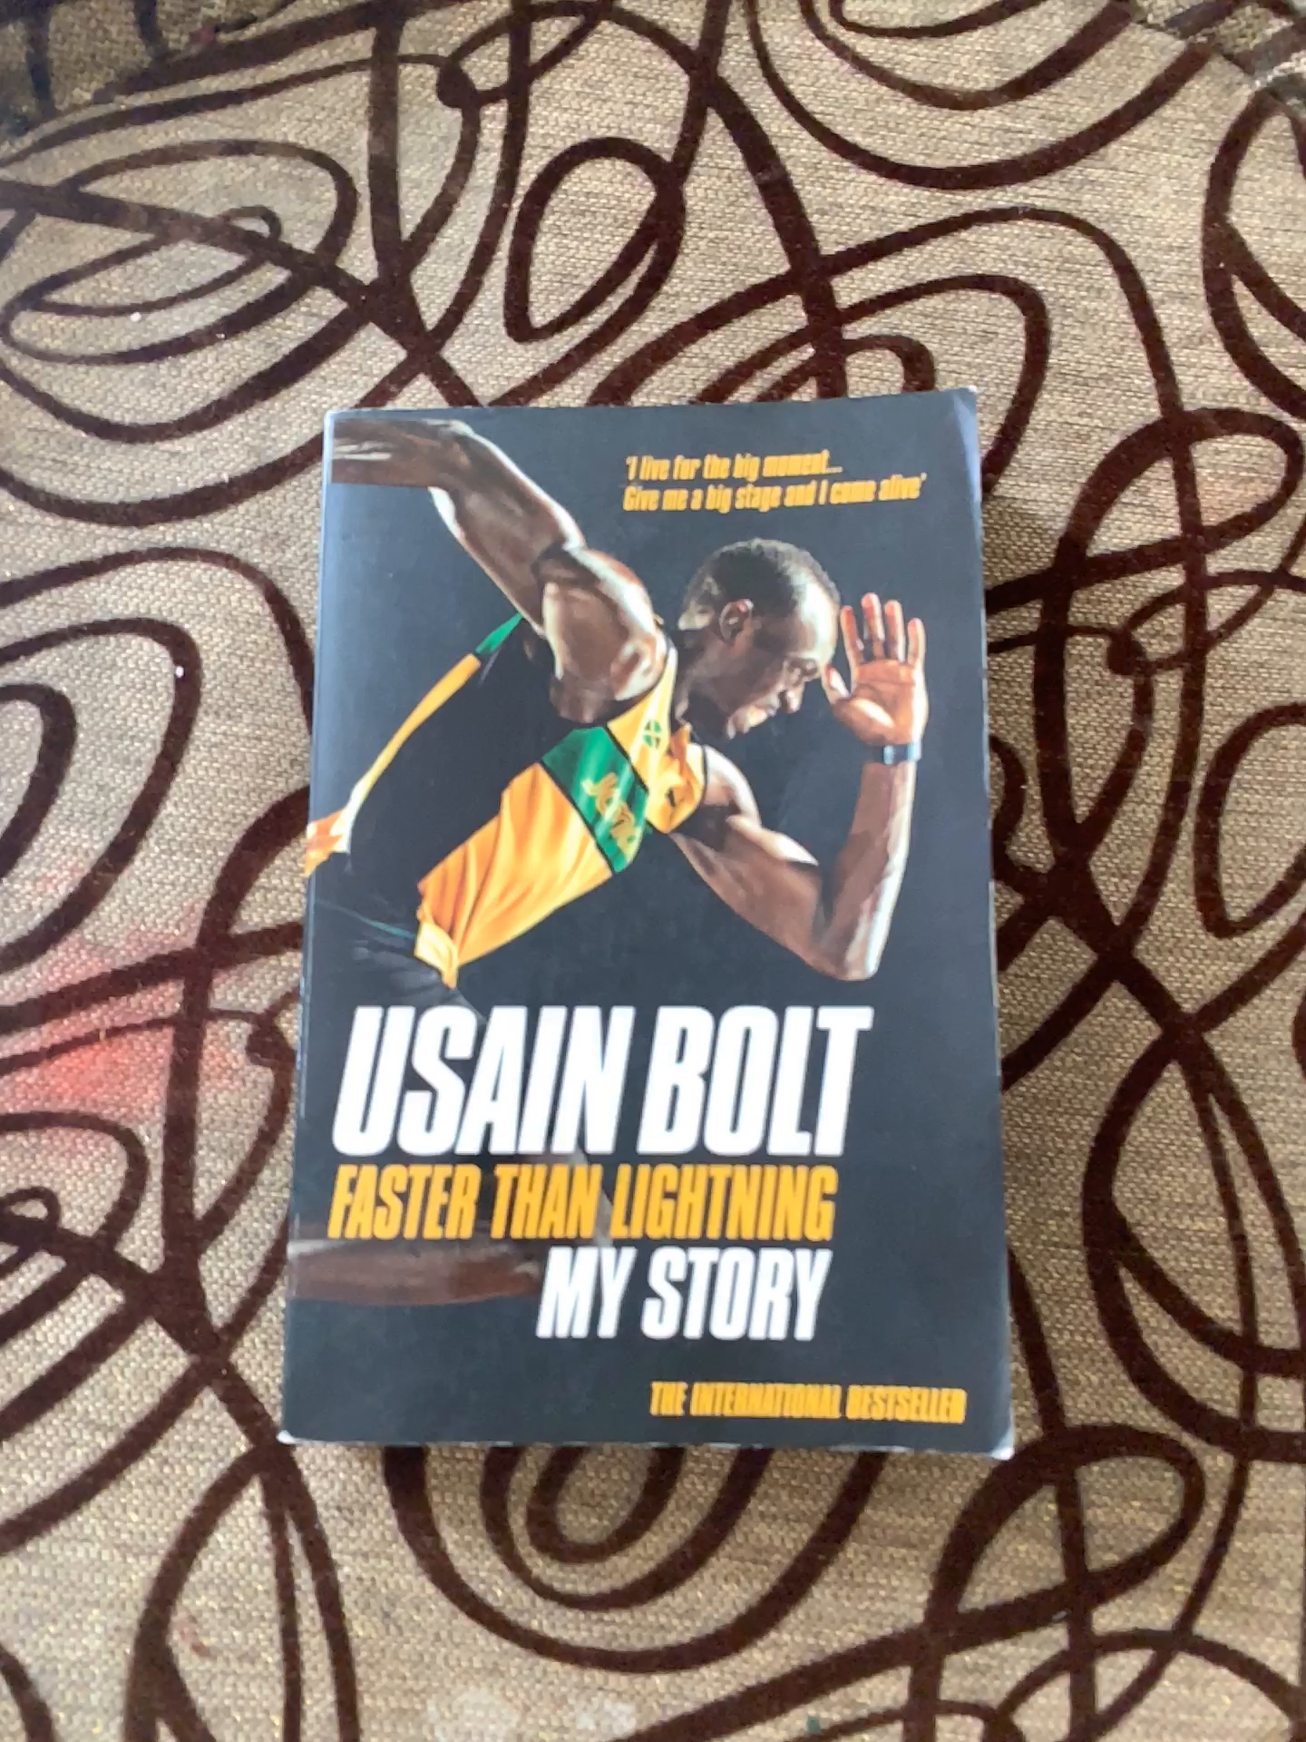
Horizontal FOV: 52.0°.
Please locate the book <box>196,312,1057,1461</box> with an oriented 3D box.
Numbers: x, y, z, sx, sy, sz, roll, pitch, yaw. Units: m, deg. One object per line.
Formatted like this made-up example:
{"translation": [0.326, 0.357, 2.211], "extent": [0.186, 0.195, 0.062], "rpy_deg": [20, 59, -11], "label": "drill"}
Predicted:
{"translation": [-0.004, -0.002, 0.248], "extent": [0.140, 0.030, 0.200], "rpy_deg": [0, 81, 2], "label": "book"}
